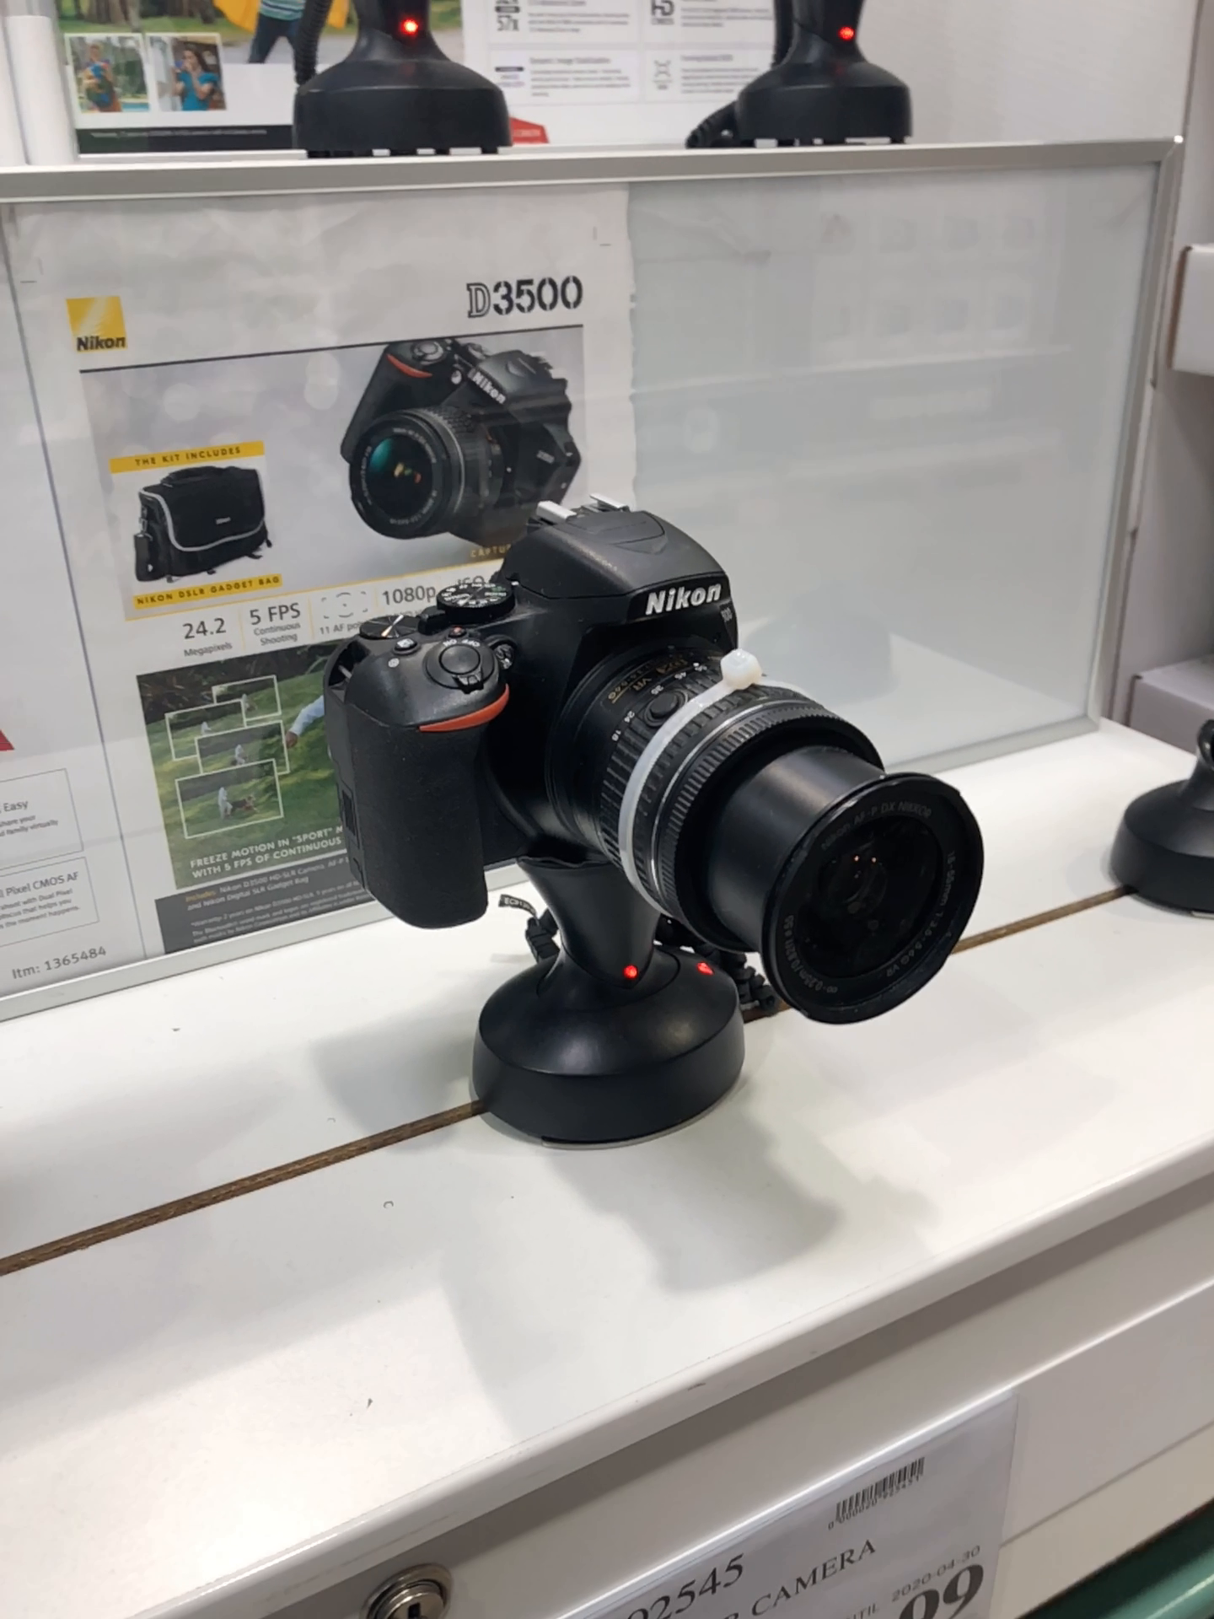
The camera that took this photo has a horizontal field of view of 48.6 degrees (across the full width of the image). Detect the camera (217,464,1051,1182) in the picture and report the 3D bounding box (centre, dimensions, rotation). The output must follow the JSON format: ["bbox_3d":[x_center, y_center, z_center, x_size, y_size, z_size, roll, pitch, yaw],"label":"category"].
[{"bbox_3d":[-0.004,-0.019,0.377,0.140,0.110,0.191,-16,28,-27],"label":"camera"}]
